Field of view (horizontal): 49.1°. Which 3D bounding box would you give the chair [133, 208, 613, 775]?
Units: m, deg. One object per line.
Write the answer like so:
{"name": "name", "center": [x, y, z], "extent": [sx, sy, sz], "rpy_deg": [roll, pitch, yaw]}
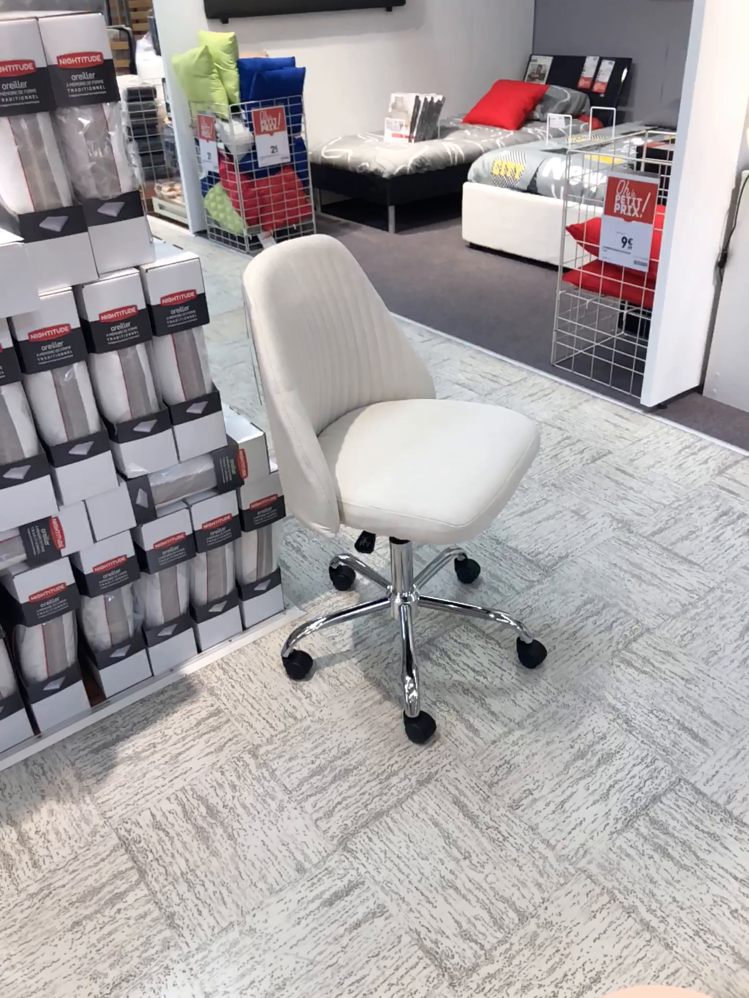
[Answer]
{"name": "chair", "center": [0.074, -0.072, 1.596], "extent": [0.629, 0.785, 0.705], "rpy_deg": [7, 33, 17]}
